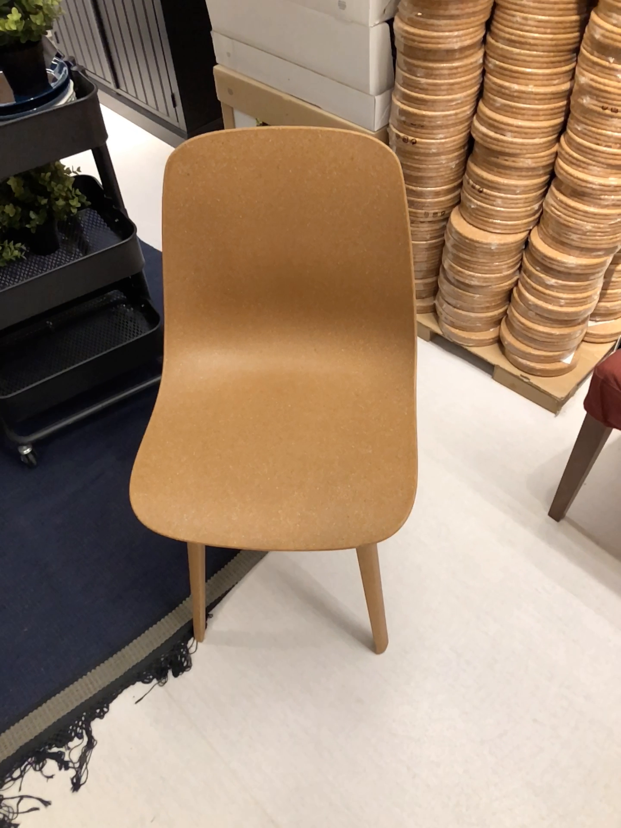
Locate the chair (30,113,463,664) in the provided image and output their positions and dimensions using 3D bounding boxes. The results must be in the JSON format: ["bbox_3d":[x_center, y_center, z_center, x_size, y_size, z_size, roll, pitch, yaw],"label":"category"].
[{"bbox_3d":[-0.026,-0.003,1.145,0.440,0.745,0.553,2,51,6],"label":"chair"}]
